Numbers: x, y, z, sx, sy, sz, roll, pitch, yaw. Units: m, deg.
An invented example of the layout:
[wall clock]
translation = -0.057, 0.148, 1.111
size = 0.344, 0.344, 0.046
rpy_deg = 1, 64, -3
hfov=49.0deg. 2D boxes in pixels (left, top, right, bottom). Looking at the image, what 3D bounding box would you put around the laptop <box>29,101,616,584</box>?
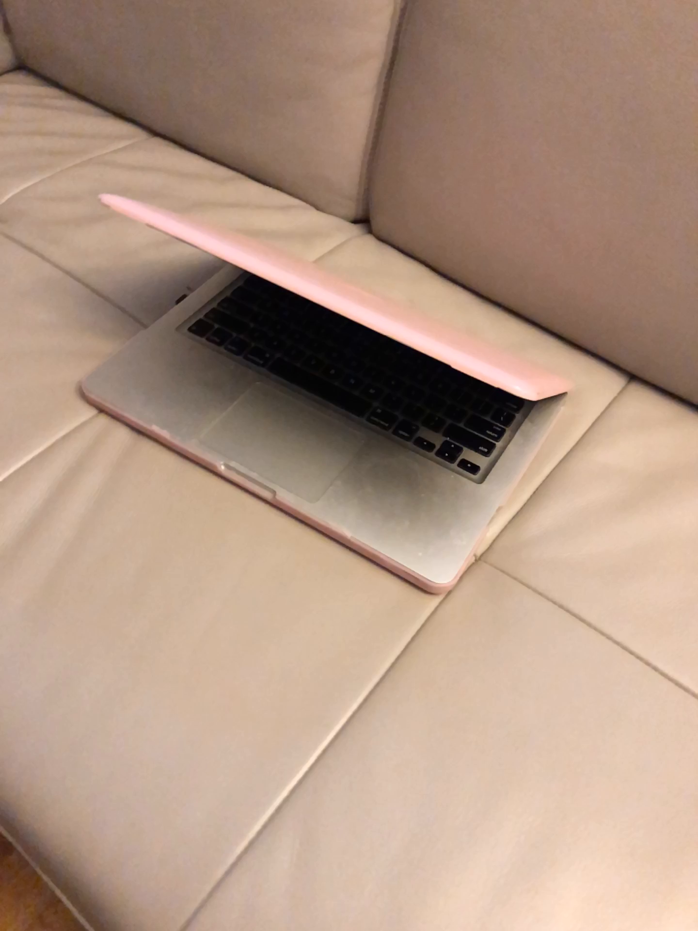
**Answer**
[laptop]
translation = -0.010, -0.103, 0.549
size = 0.307, 0.145, 0.220
rpy_deg = 27, 55, 17
